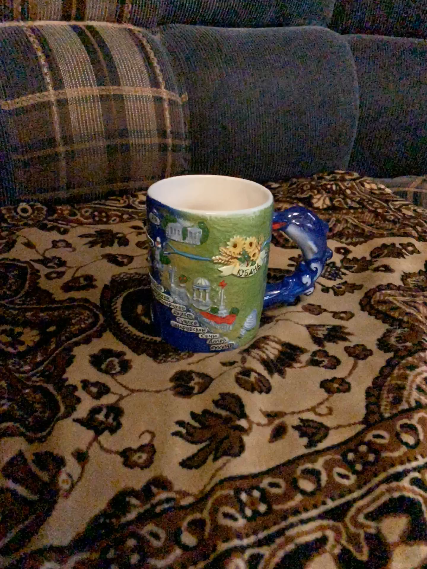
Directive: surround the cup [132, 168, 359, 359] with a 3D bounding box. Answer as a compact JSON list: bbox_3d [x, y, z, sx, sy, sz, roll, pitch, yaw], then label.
[{"bbox_3d":[0.015,-0.021,0.329,0.136,0.105,0.084,-5,30,-14],"label":"cup"}]
